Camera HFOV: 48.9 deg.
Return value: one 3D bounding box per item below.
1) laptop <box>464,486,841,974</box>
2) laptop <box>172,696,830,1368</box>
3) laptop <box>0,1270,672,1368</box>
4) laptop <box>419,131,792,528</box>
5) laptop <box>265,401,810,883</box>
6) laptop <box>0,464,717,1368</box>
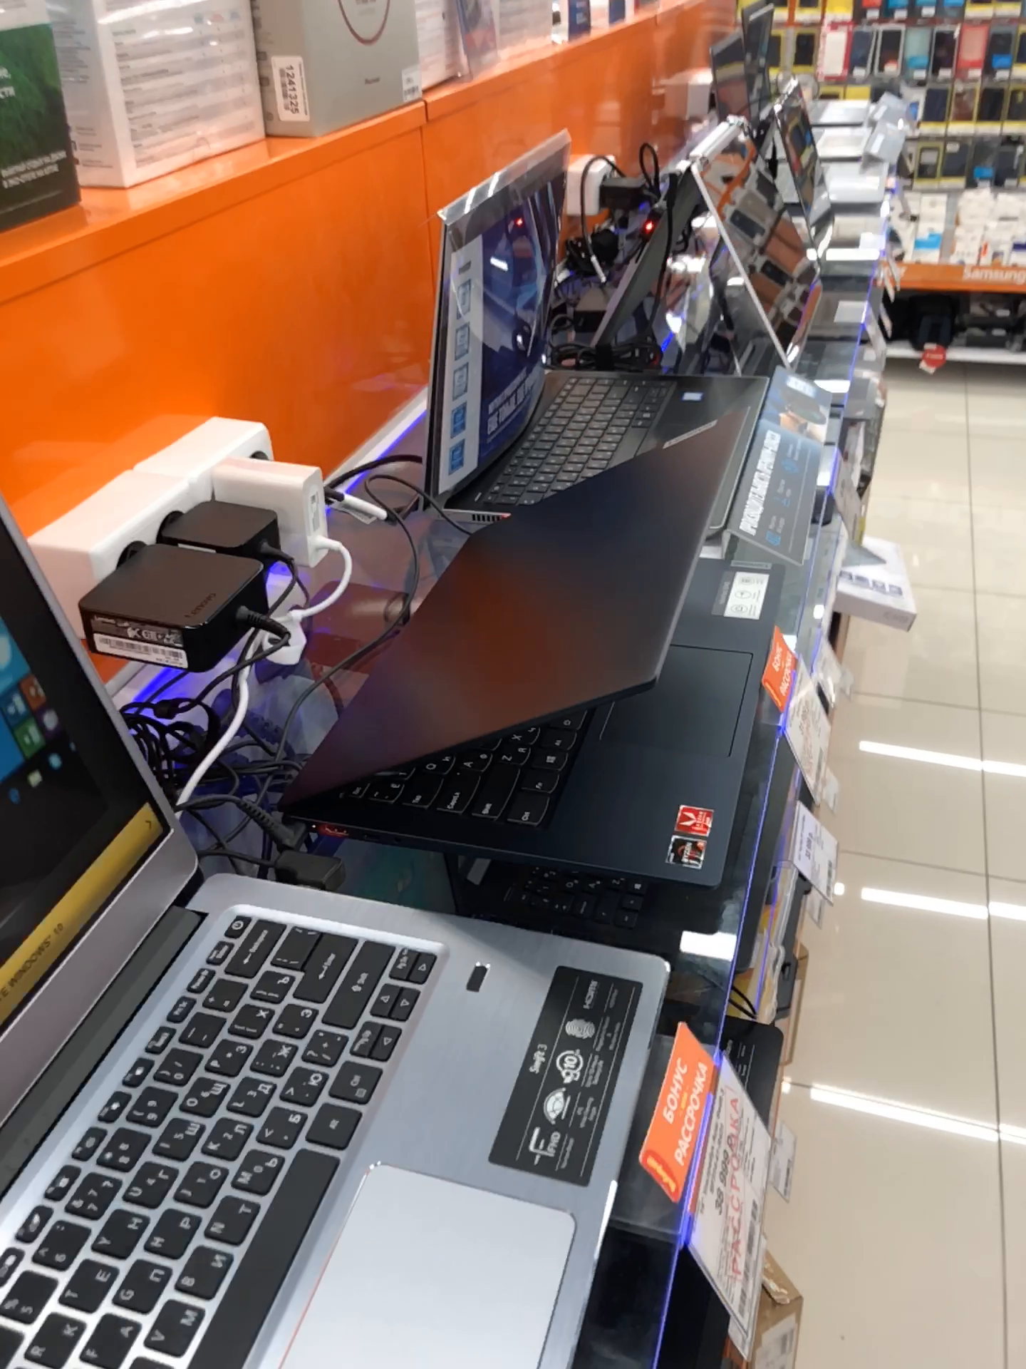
[{"bbox_3d":[0.132,0.013,0.961,0.225,0.215,0.354,9,35,18],"label":"laptop"},{"bbox_3d":[0.024,0.220,0.646,0.246,0.230,0.344,10,36,19],"label":"laptop"},{"bbox_3d":[-0.096,0.431,0.327,0.235,0.207,0.350,8,33,14],"label":"laptop"},{"bbox_3d":[0.087,-0.301,0.907,0.228,0.213,0.307,8,35,18],"label":"laptop"},{"bbox_3d":[0.037,-0.049,0.636,0.211,0.106,0.301,8,36,16],"label":"laptop"},{"bbox_3d":[-0.081,0.103,0.313,0.224,0.203,0.317,8,34,16],"label":"laptop"}]
